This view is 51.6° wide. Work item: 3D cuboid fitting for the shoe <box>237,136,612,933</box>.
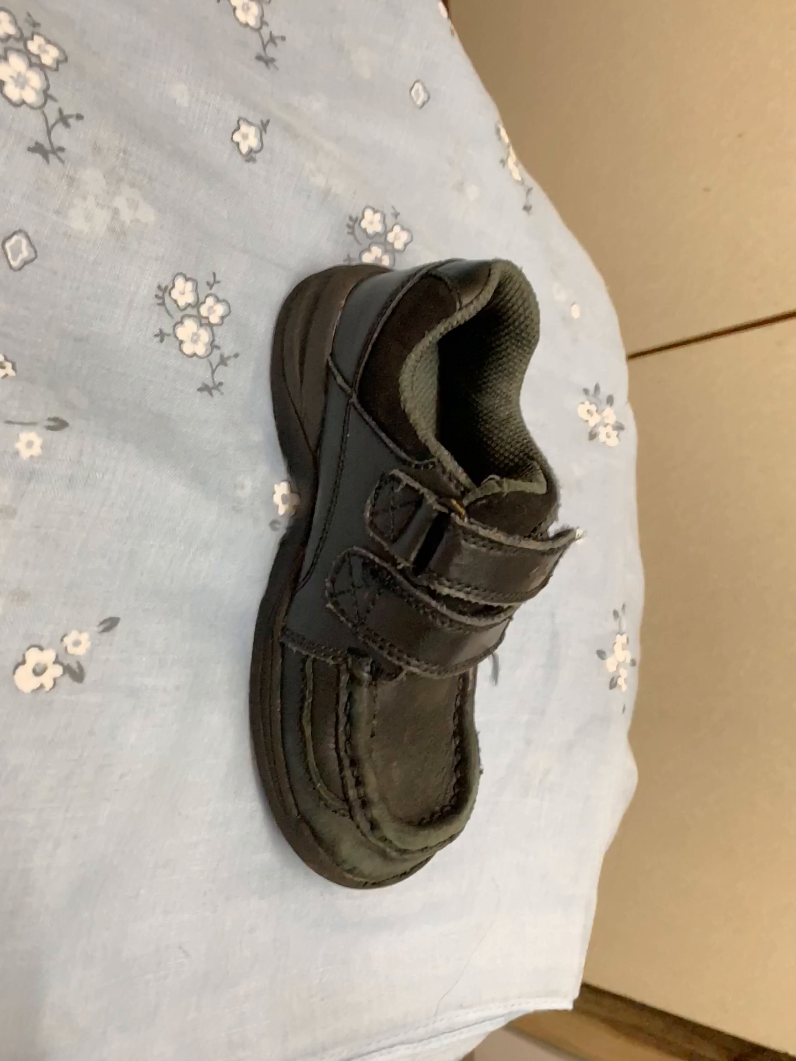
[{"bbox_3d":[0.009,0.002,0.247,0.079,0.073,0.190,8,80,-44],"label":"shoe"}]
